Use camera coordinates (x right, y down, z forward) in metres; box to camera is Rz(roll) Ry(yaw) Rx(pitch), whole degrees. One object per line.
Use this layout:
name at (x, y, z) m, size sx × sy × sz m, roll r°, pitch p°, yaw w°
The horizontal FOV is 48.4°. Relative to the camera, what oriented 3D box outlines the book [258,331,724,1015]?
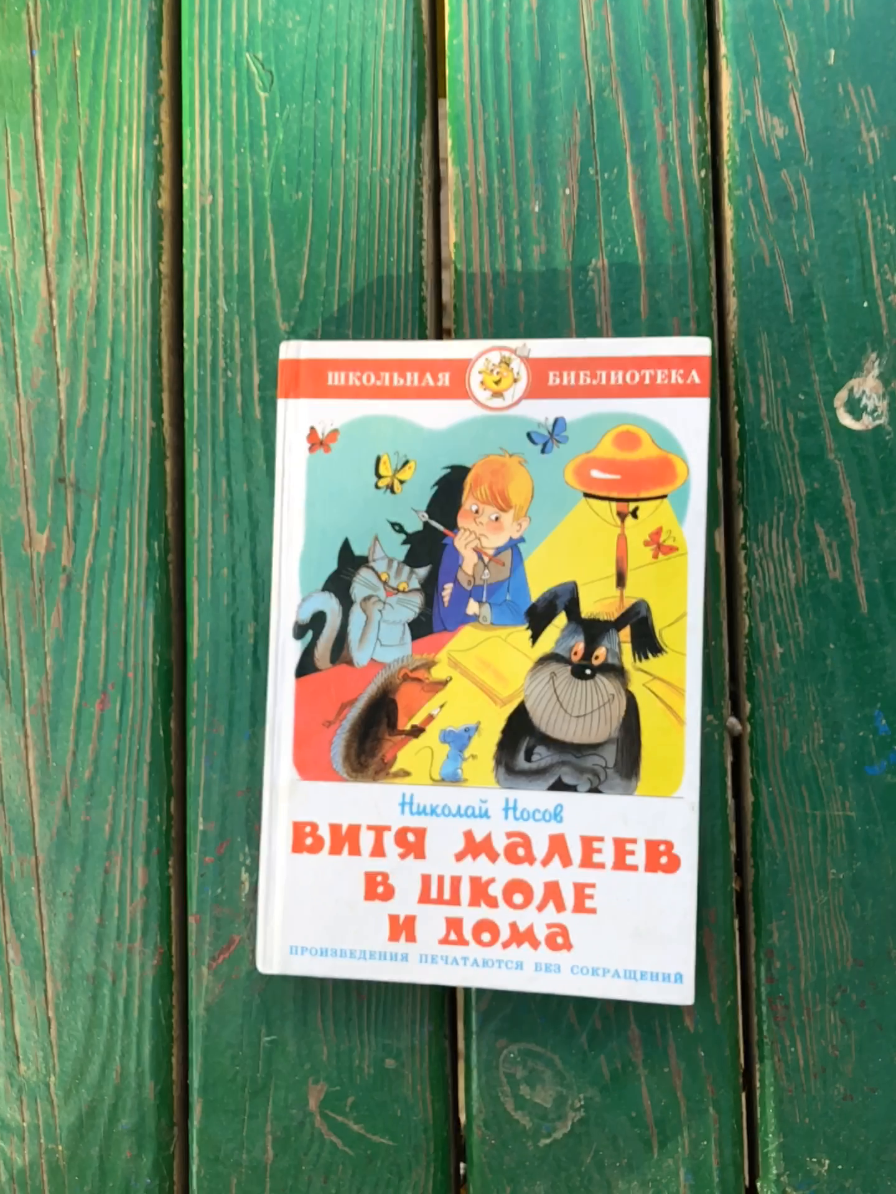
book at (0.014, 0.021, 0.329) m, size 0.145 × 0.020 × 0.212 m, roll 1°, pitch 87°, yaw 8°
